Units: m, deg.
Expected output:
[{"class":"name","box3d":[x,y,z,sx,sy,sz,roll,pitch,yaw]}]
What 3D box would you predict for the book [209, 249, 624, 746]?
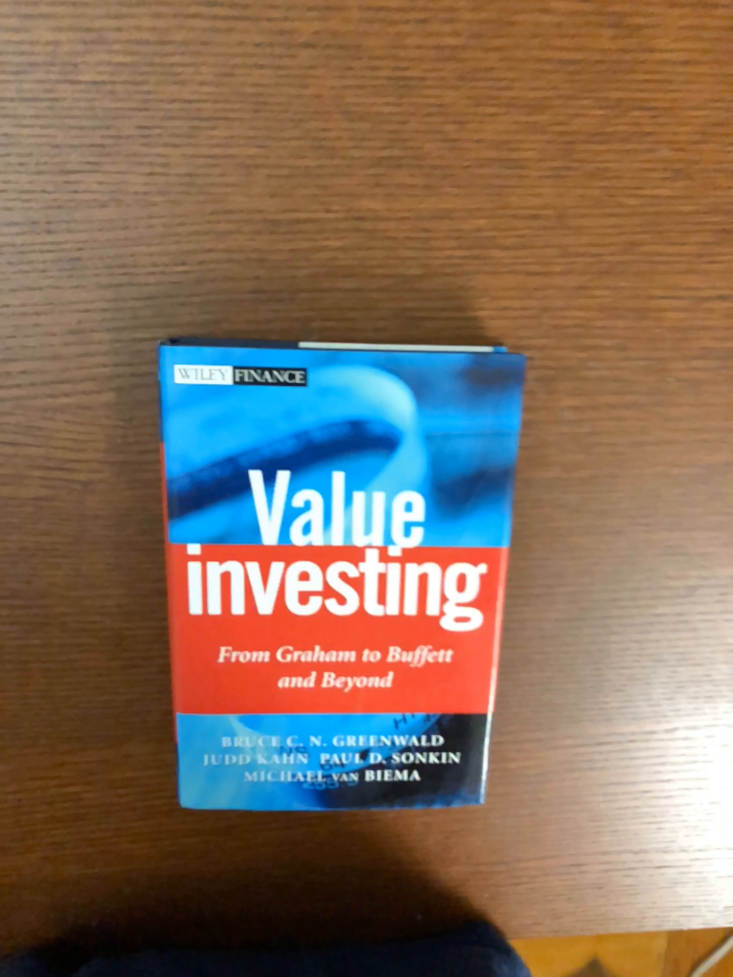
[{"class":"book","box3d":[0.017,0.013,0.376,0.170,0.020,0.230,1,107,-4]}]
